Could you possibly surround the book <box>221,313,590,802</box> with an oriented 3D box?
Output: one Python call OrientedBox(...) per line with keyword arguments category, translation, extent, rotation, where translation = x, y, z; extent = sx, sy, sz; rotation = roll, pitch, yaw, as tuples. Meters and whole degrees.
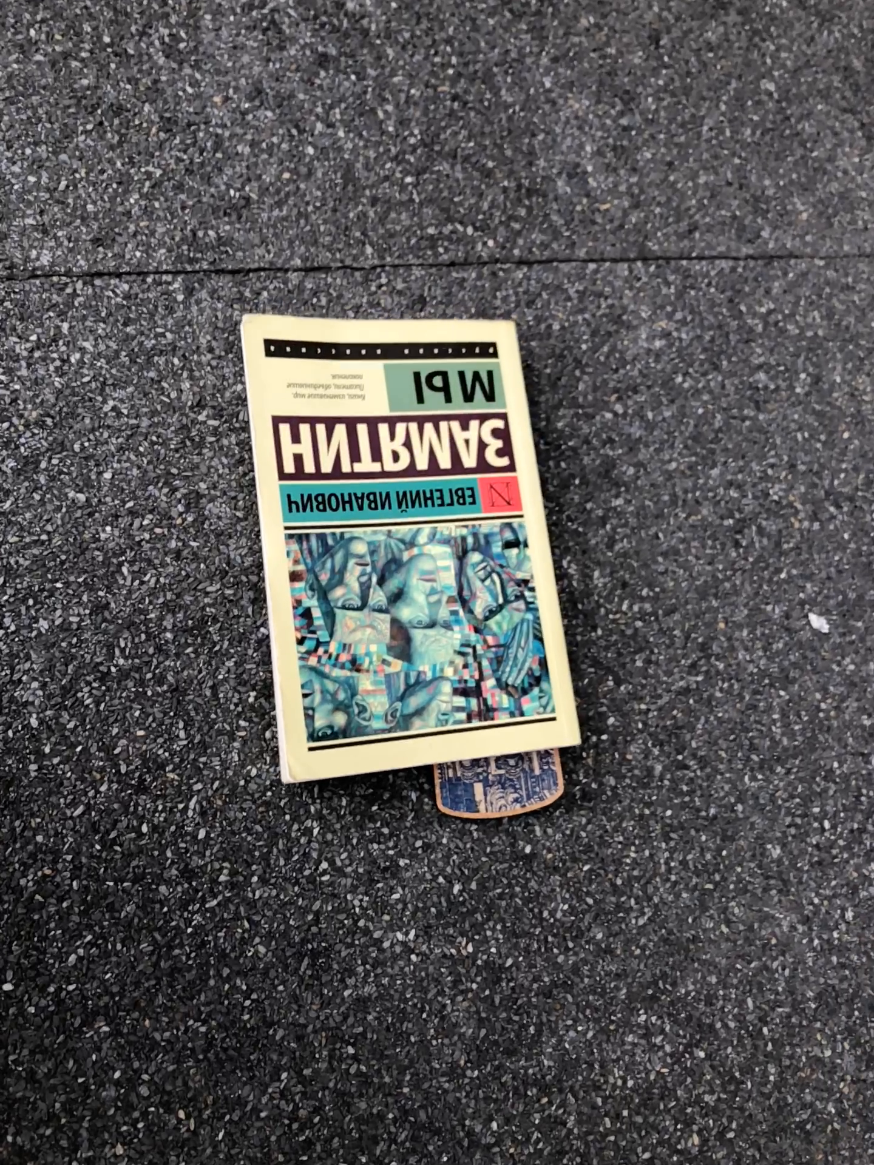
OrientedBox(category="book", translation=(-0.015, -0.015, 0.376), extent=(0.120, 0.026, 0.181), rotation=(-4, 78, -17))
